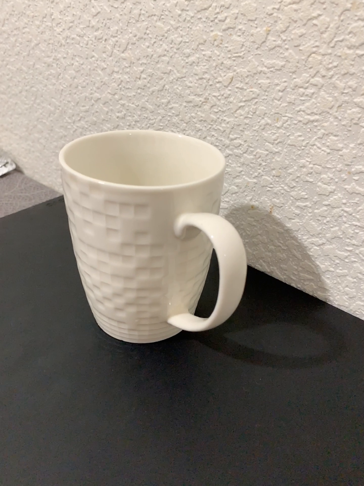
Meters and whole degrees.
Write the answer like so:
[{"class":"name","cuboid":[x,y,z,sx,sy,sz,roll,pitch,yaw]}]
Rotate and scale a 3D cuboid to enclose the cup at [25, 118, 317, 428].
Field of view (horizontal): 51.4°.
[{"class":"cup","cuboid":[-0.012,0.004,0.209,0.081,0.105,0.120,-26,42,-36]}]
